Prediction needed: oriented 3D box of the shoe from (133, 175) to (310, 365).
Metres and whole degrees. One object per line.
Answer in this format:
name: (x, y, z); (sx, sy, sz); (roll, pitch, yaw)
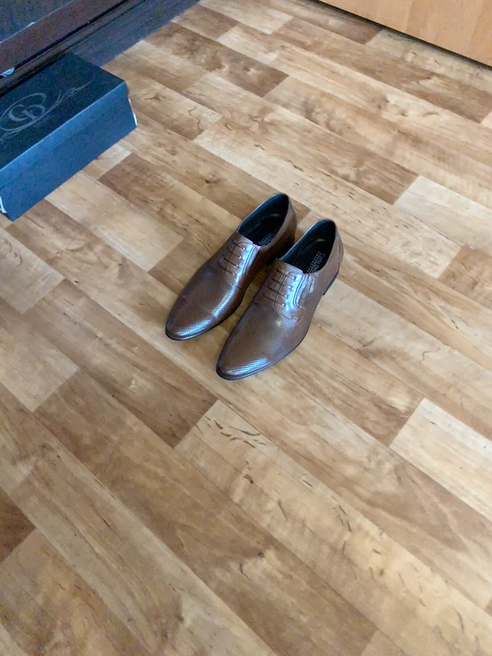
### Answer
shoe: (-0.029, -0.099, 0.826); (0.100, 0.120, 0.300); (35, 68, 21)

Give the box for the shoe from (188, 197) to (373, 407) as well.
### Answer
shoe: (0.060, -0.047, 0.767); (0.110, 0.100, 0.310); (32, 67, 19)
